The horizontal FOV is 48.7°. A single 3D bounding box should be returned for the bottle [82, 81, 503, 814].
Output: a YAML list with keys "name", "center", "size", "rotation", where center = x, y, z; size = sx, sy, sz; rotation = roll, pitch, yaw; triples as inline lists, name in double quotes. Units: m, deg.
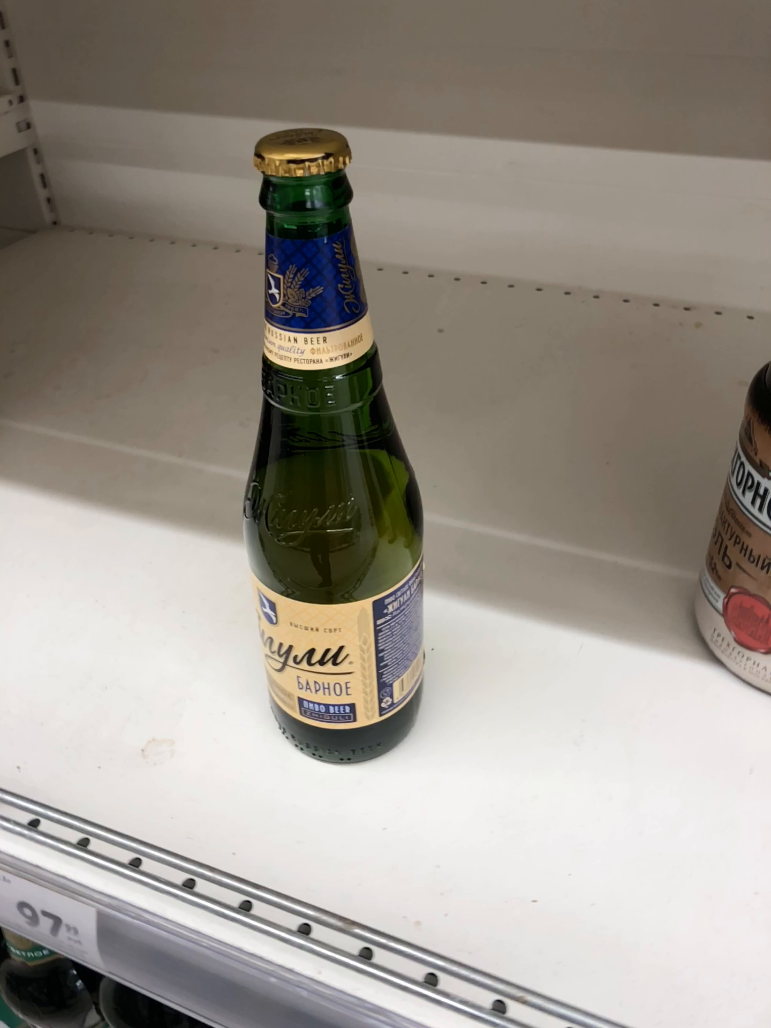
- name: "bottle"
  center: [-0.024, -0.012, 0.319]
  size: [0.090, 0.249, 0.080]
  rotation: [31, 49, 34]
